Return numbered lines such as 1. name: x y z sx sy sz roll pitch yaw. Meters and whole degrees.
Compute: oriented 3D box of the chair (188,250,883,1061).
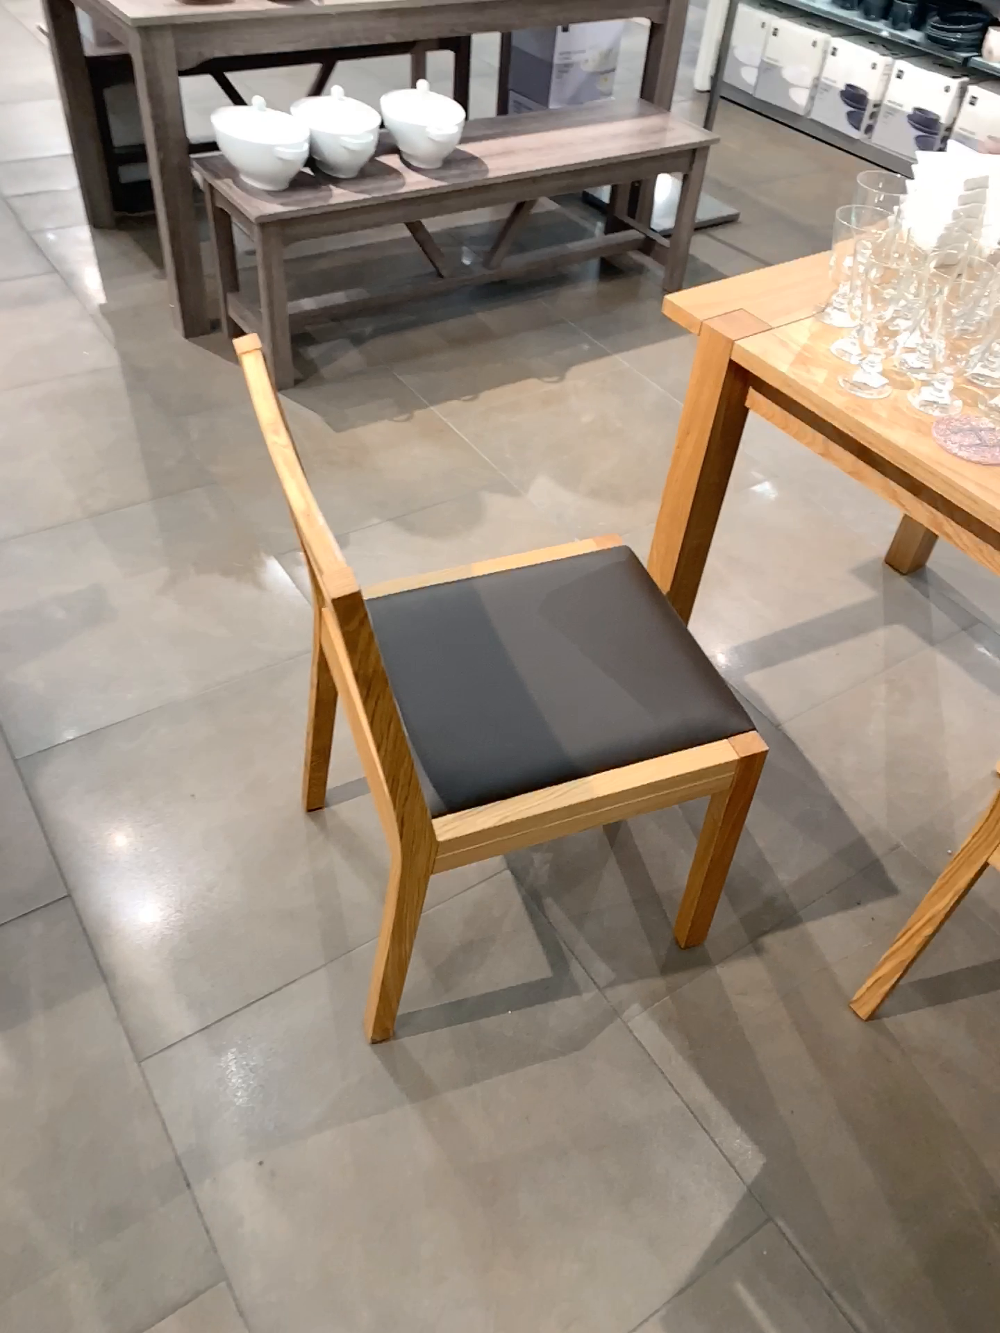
1. chair: -0.027 -0.009 1.349 0.564 0.815 0.567 -12 47 -17
